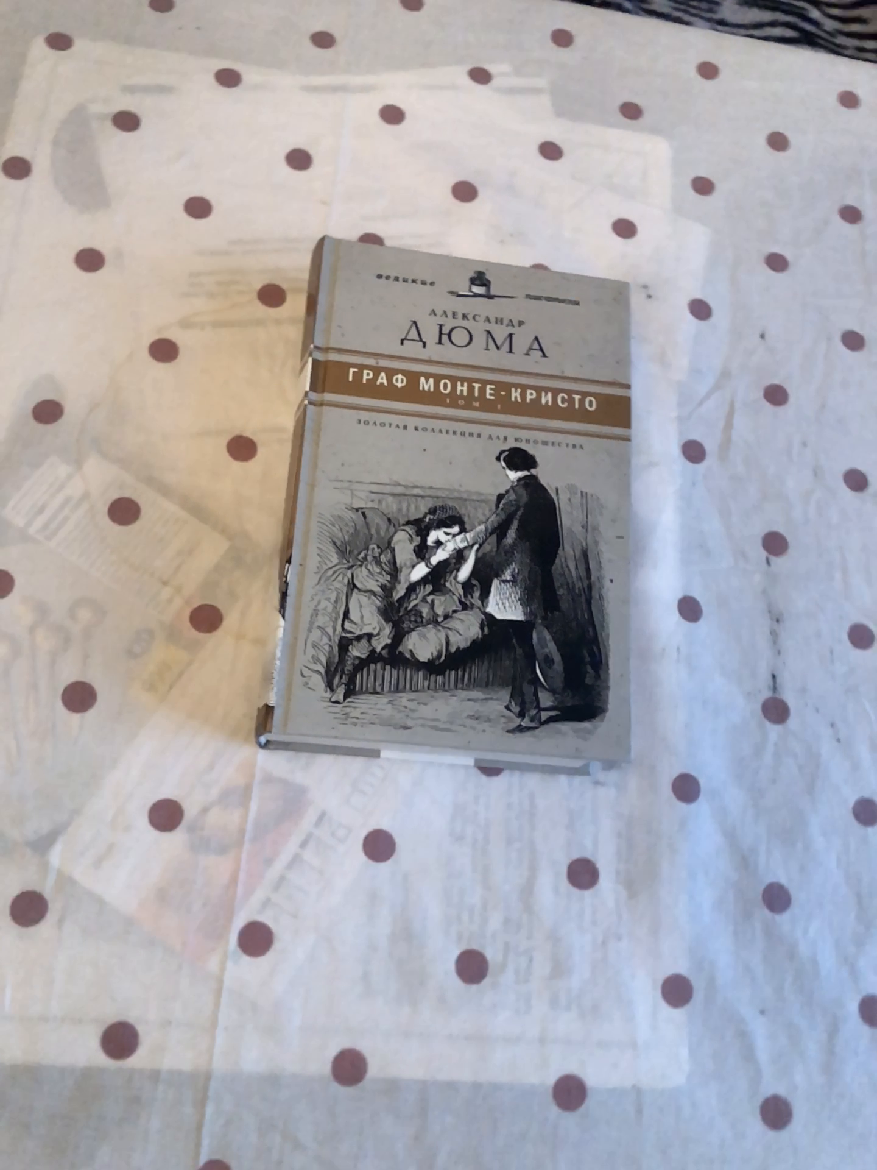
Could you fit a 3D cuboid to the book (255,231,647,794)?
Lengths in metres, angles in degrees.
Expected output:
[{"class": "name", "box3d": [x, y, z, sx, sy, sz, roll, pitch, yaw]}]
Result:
[{"class": "book", "box3d": [0.009, -0.030, 0.381, 0.135, 0.040, 0.208, 6, 71, -7]}]
